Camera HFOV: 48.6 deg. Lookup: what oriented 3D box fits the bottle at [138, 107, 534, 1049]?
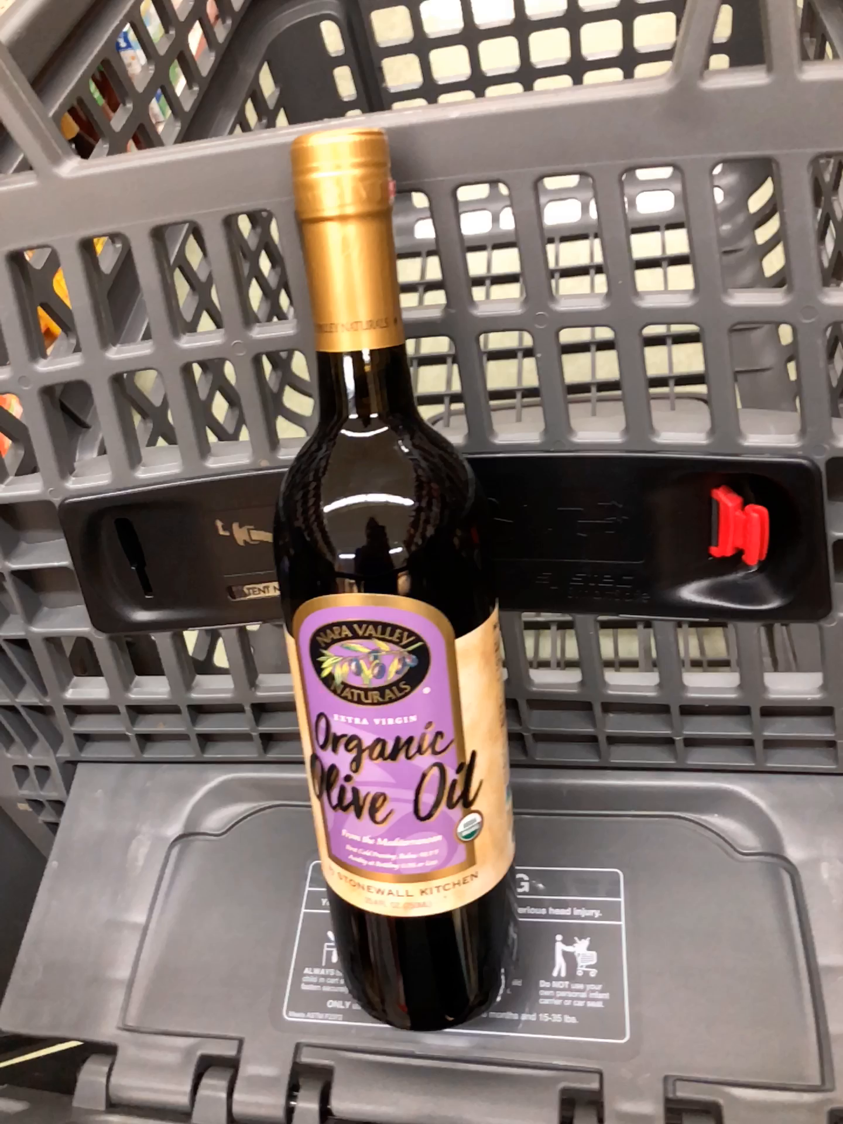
[{"bbox_3d":[-0.013,0.016,0.322,0.080,0.300,0.080,-5,20,2],"label":"bottle"}]
